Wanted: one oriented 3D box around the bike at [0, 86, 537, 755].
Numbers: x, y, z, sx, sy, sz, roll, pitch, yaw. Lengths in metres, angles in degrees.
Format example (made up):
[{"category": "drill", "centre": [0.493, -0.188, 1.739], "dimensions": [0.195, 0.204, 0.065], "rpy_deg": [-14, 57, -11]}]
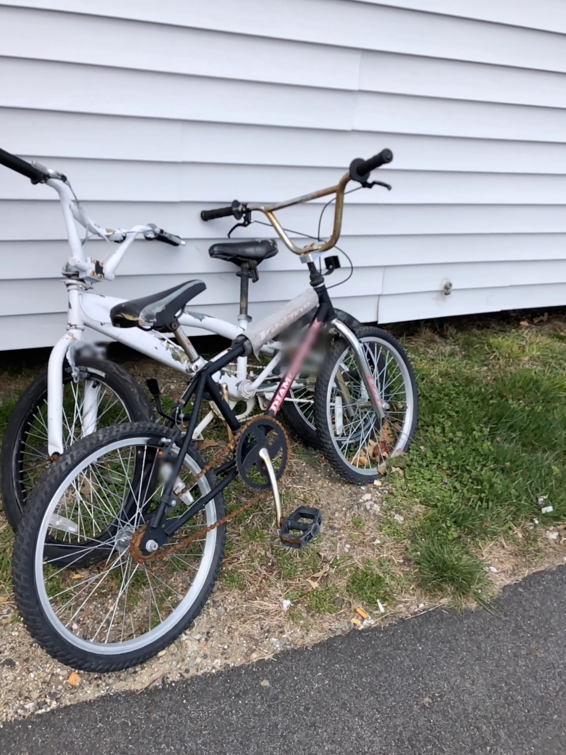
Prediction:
[{"category": "bike", "centre": [-0.133, -0.106, 1.487], "dimensions": [0.757, 0.932, 1.303], "rpy_deg": [27, 37, 30]}]
